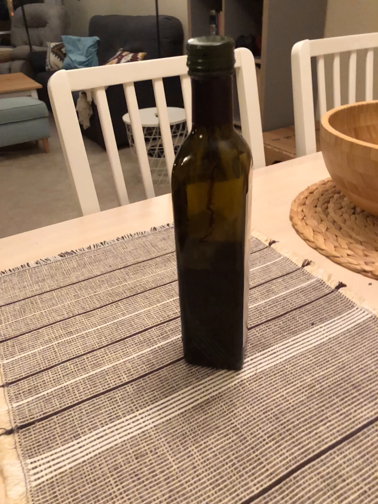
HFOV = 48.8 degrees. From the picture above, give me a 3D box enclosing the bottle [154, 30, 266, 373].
[{"bbox_3d":[0.021,-0.025,0.329,0.060,0.261,0.060,-2,30,1],"label":"bottle"}]
